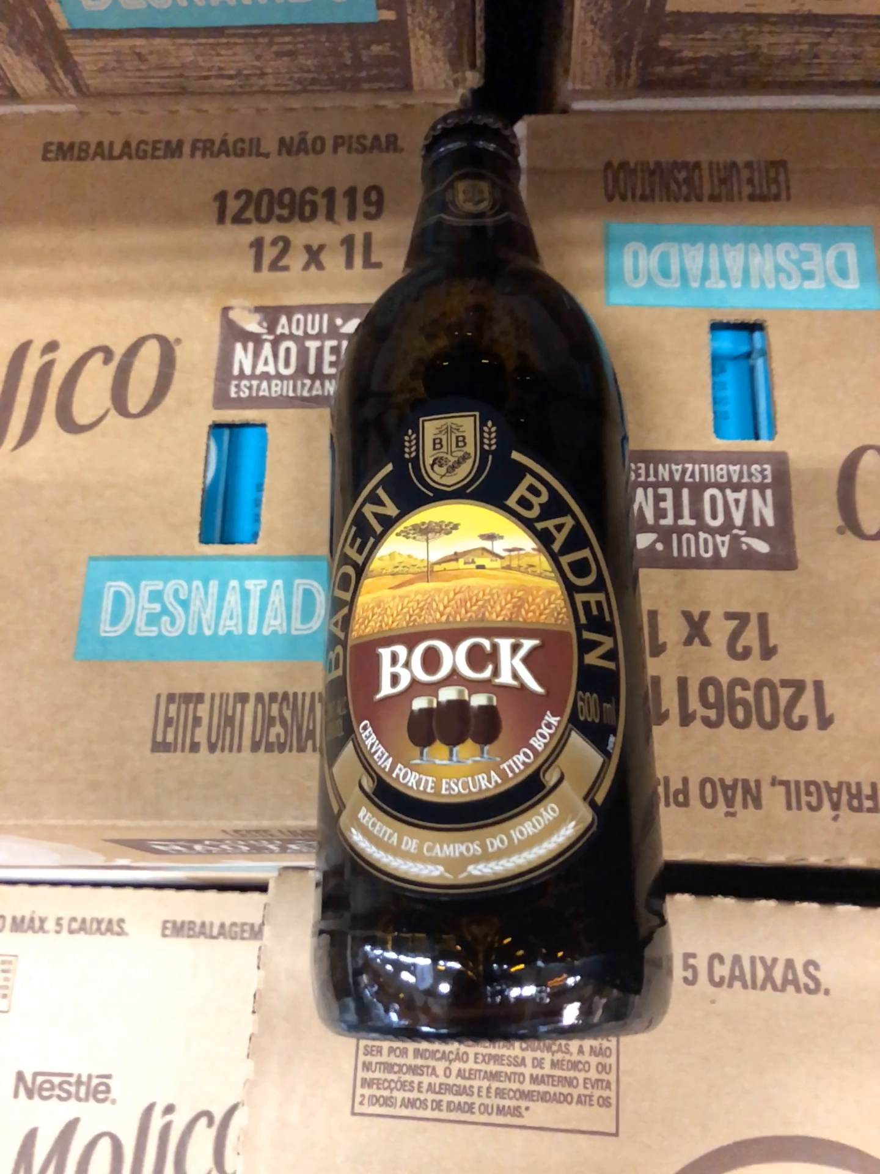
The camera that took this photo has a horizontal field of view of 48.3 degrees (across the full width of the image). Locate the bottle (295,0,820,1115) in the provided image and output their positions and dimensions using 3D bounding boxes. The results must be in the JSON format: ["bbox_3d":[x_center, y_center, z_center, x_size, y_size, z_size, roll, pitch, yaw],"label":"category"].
[{"bbox_3d":[0.019,-0.017,0.221,0.080,0.070,0.230,-1,71,2],"label":"bottle"}]
